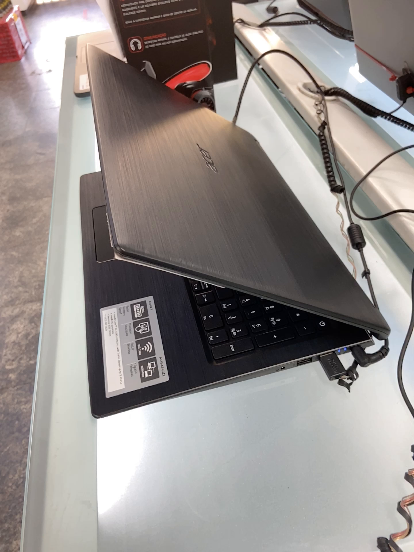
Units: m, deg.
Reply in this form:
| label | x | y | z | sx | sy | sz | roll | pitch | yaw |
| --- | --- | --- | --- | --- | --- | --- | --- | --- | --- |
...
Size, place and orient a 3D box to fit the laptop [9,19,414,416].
| label | x | y | z | sx | sy | sz | roll | pitch | yaw |
| --- | --- | --- | --- | --- | --- | --- | --- | --- | --- |
| laptop | -0.026 | -0.097 | 0.424 | 0.238 | 0.157 | 0.372 | -14 | 45 | -5 |
